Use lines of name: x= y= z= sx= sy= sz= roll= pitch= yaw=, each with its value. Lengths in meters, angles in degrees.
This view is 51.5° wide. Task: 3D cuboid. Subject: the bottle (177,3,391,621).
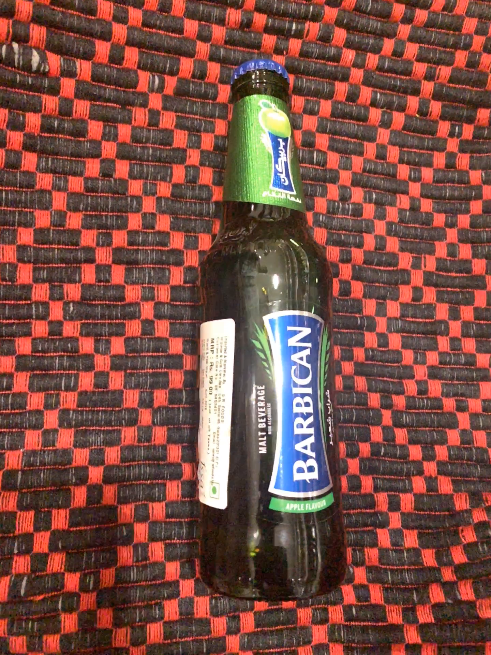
bottle: x=0.009 y=-0.015 z=0.223 sx=0.070 sy=0.050 sz=0.238 roll=1 pitch=78 yaw=-15
